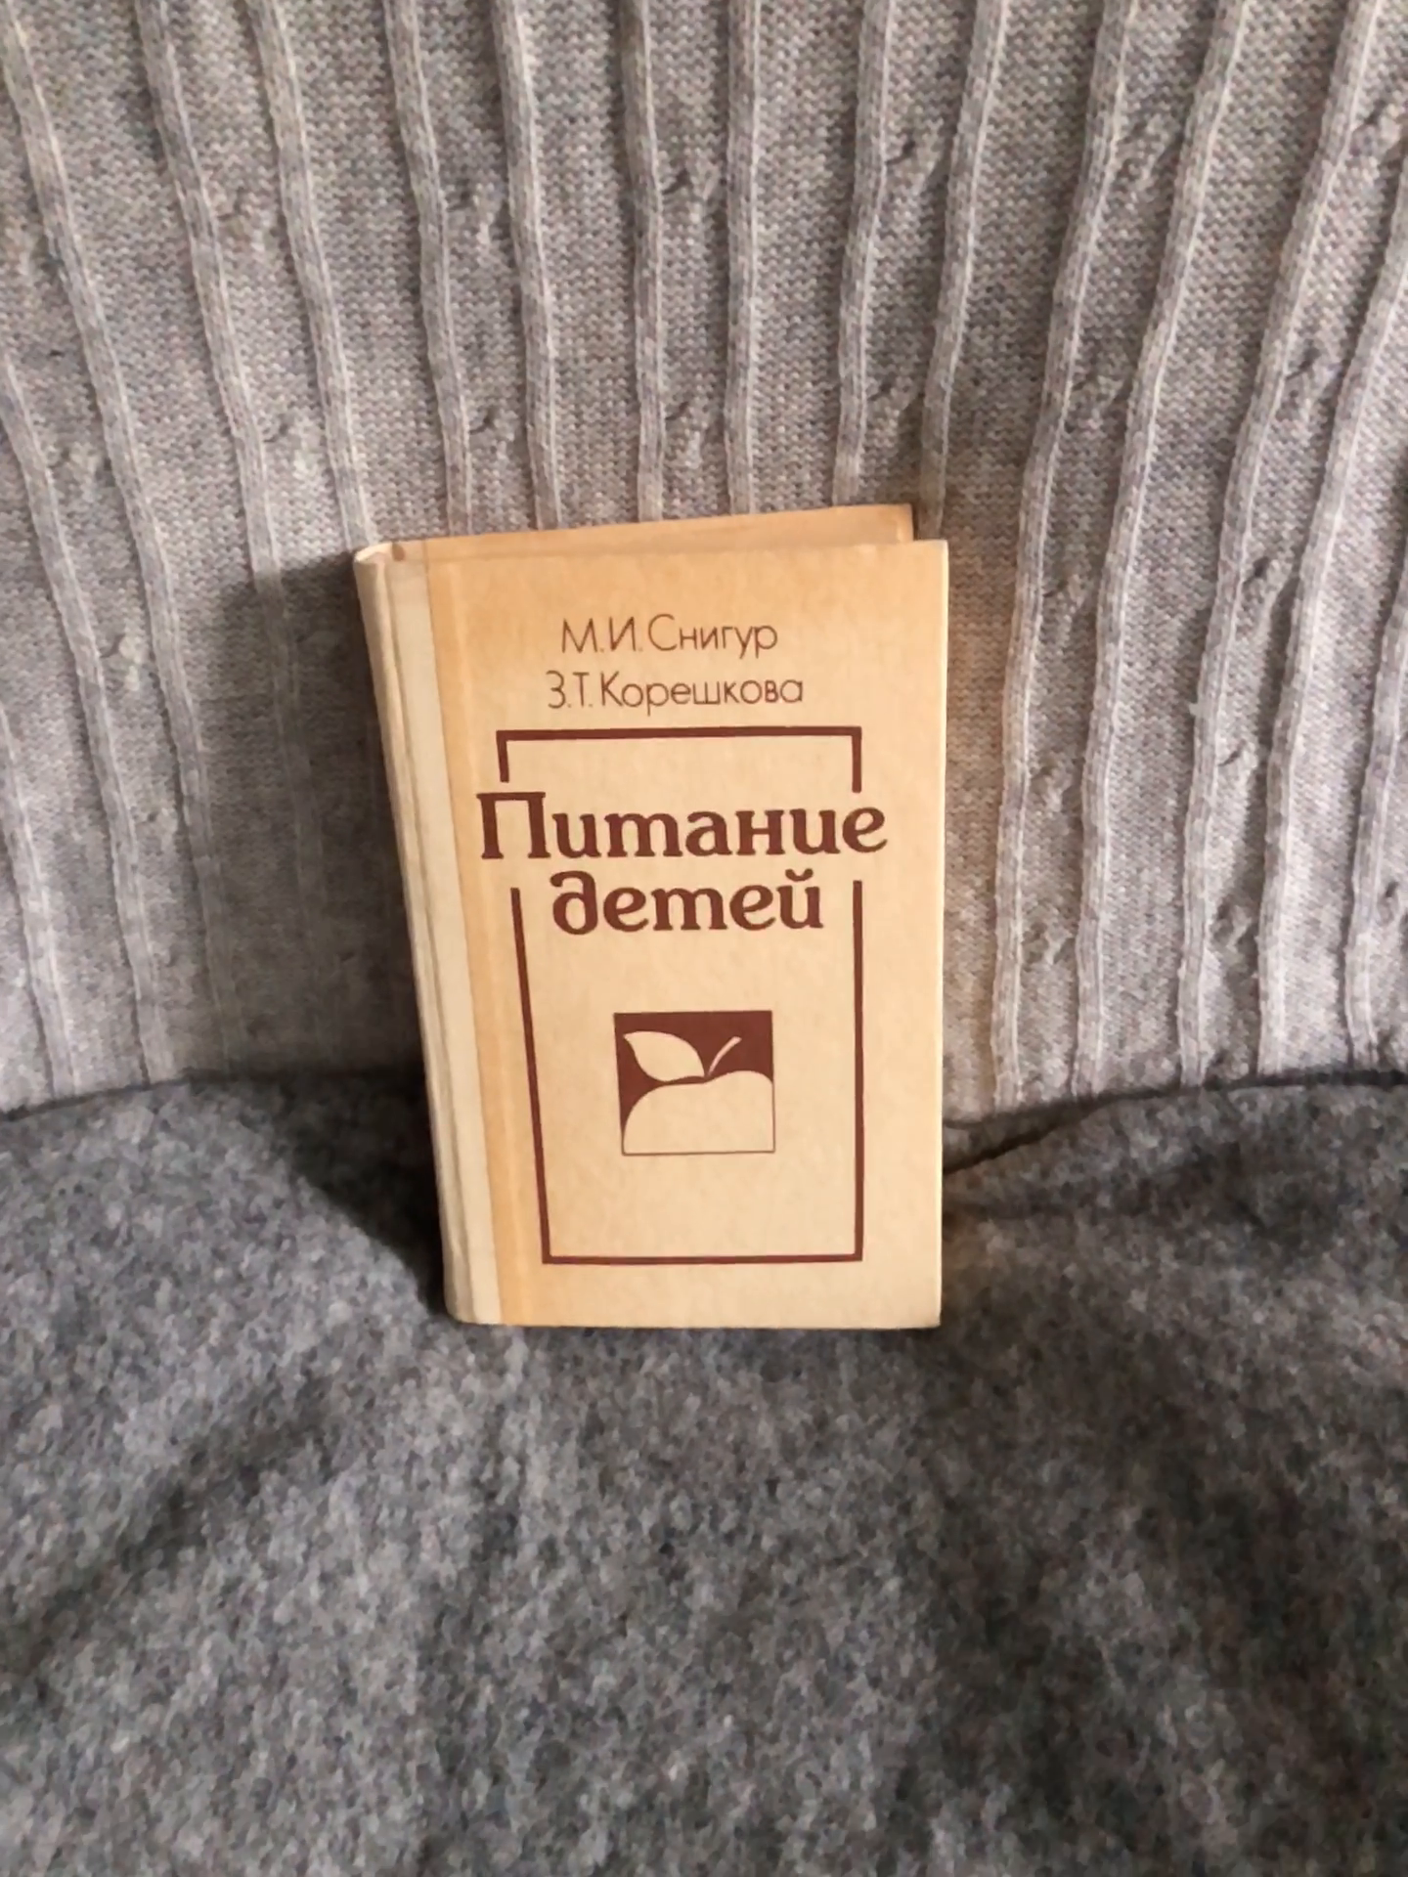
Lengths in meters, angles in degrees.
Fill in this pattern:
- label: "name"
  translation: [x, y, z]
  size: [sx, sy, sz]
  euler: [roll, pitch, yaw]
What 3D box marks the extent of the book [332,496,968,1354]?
- label: "book"
  translation: [-0.006, 0.002, 0.400]
  size: [0.139, 0.212, 0.042]
  euler: [-3, 21, 3]
